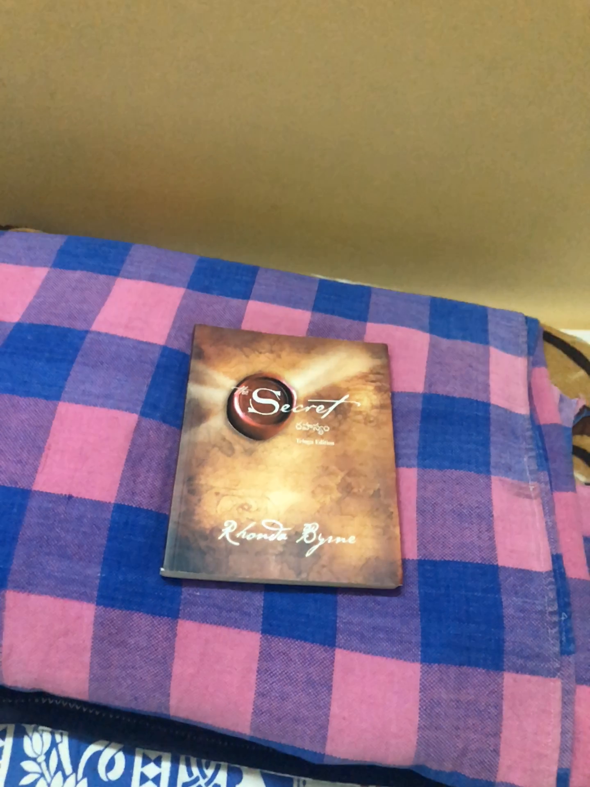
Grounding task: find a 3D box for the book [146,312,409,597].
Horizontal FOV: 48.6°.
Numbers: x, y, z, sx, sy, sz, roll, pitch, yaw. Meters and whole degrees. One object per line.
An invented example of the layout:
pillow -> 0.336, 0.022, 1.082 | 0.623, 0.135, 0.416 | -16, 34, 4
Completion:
book -> -0.006, 0.032, 0.432 | 0.150, 0.020, 0.190 | 4, 57, -1
